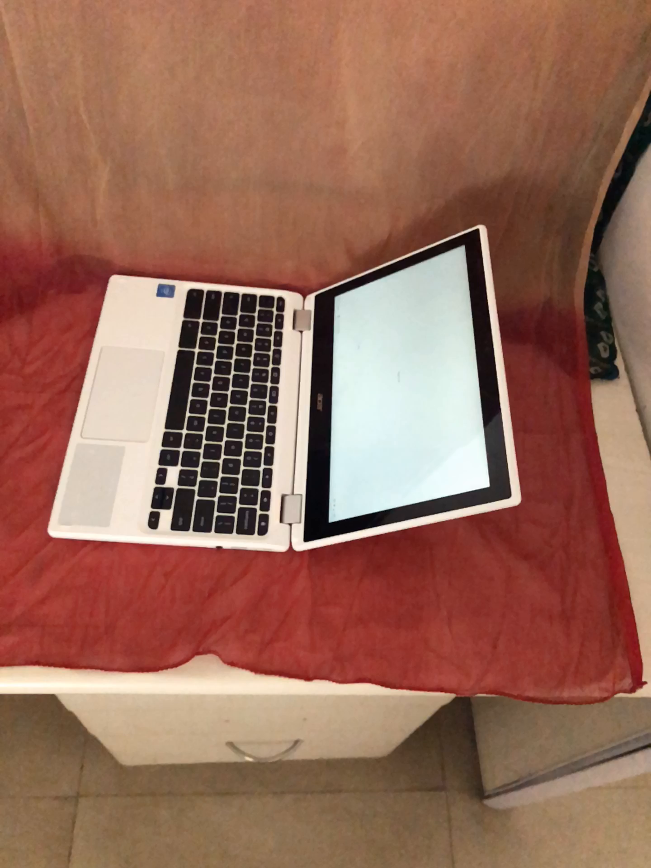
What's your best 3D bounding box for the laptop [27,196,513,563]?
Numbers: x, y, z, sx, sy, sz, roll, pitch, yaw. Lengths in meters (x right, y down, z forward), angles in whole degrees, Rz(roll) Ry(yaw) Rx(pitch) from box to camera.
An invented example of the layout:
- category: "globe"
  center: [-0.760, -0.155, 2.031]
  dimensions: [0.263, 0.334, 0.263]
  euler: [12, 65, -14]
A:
- category: "laptop"
  center: [-0.038, -0.049, 0.615]
  dimensions: [0.337, 0.113, 0.264]
  euler: [5, 58, -4]
